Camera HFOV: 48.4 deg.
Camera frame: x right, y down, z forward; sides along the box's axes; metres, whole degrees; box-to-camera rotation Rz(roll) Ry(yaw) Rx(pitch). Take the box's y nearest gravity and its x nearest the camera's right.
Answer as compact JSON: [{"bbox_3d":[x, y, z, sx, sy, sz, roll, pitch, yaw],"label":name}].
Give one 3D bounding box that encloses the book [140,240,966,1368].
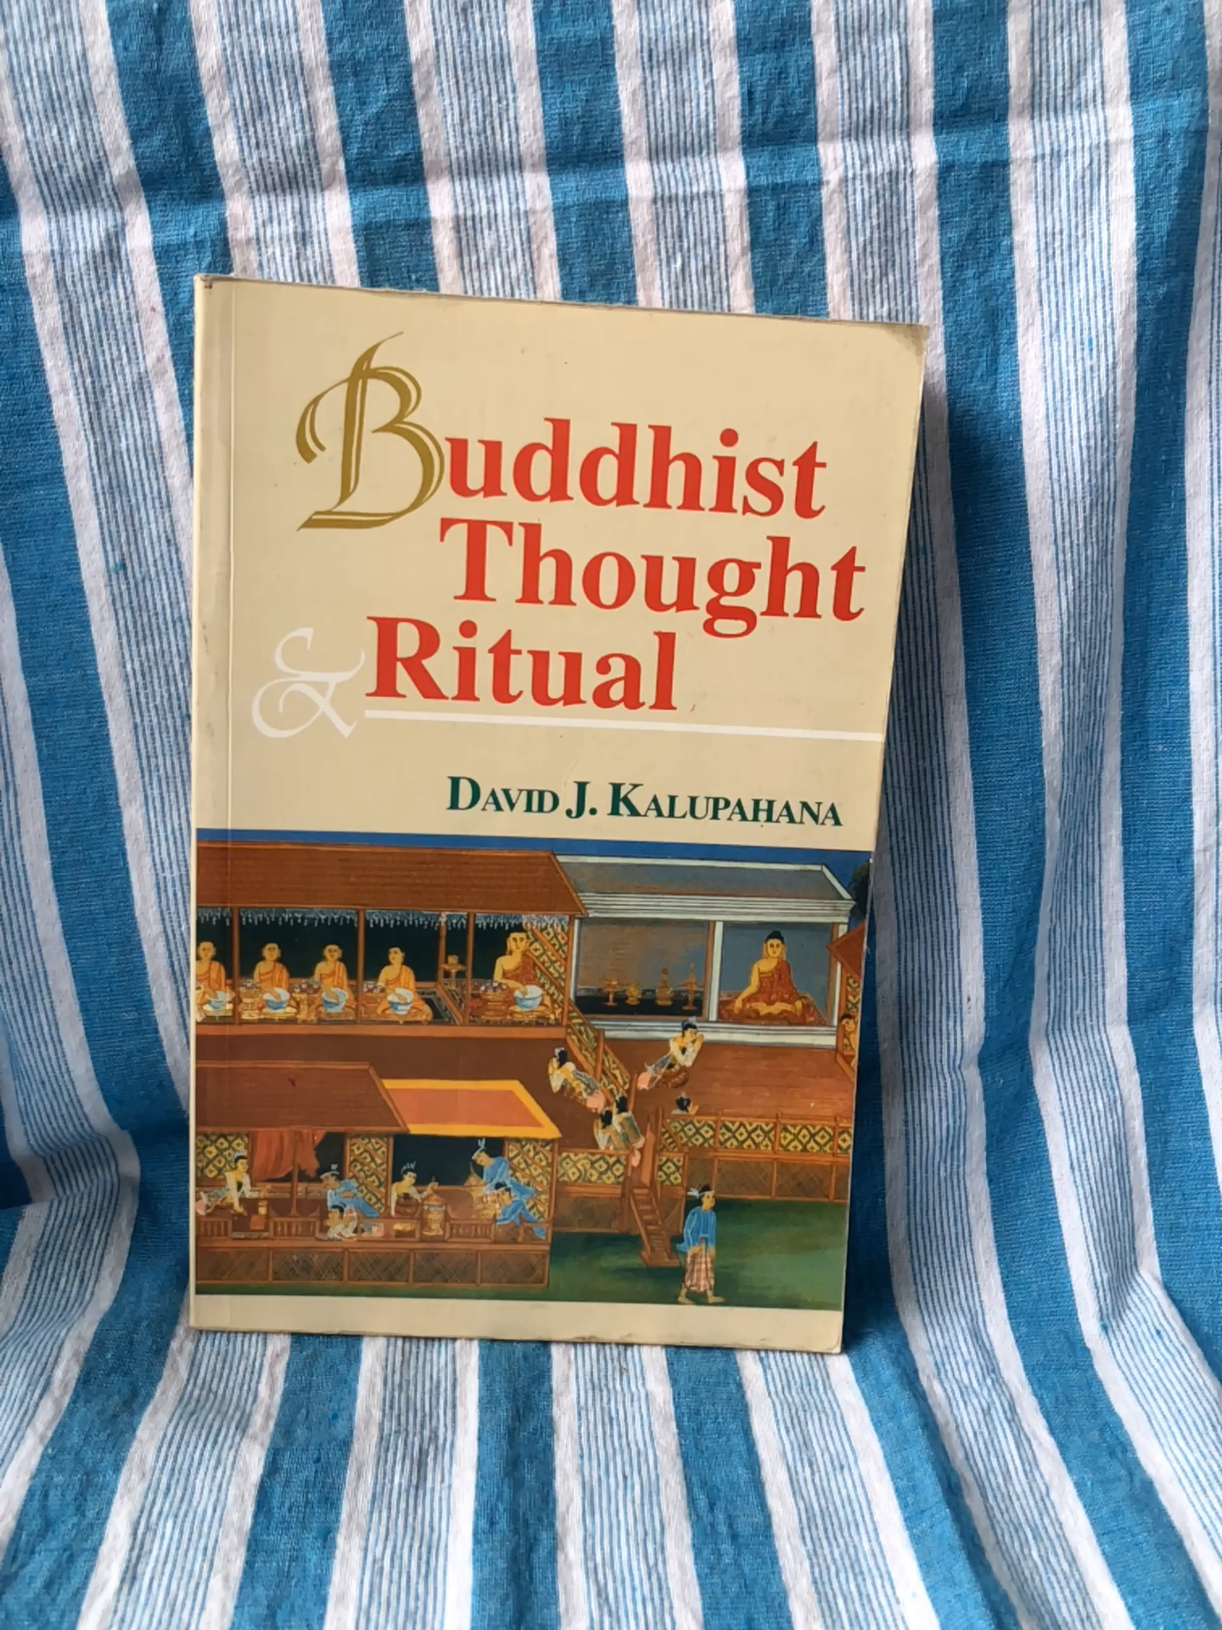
[{"bbox_3d":[-0.016,0.006,0.278,0.150,0.219,0.020,3,11,-3],"label":"book"}]
